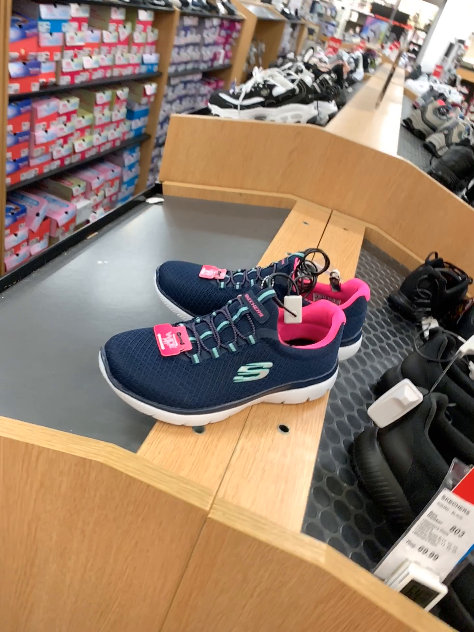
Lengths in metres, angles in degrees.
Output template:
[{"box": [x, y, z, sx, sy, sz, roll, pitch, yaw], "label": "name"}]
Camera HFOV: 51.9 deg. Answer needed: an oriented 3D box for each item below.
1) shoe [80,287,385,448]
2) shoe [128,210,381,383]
[{"box": [-0.004, 0.040, 0.467, 0.260, 0.090, 0.100, 0, 38, -27], "label": "shoe"}, {"box": [0.017, -0.022, 0.561, 0.250, 0.099, 0.111, 14, 33, -8], "label": "shoe"}]
